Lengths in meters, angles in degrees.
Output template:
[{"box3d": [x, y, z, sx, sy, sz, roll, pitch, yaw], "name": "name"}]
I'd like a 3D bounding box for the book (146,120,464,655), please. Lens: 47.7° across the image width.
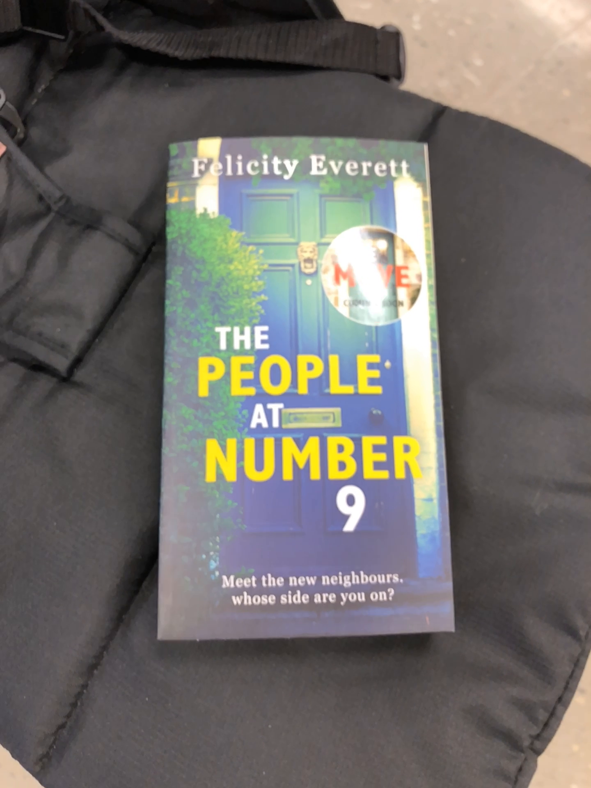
[{"box3d": [0.001, -0.006, 0.261, 0.110, 0.030, 0.195, 0, 80, -7], "name": "book"}]
